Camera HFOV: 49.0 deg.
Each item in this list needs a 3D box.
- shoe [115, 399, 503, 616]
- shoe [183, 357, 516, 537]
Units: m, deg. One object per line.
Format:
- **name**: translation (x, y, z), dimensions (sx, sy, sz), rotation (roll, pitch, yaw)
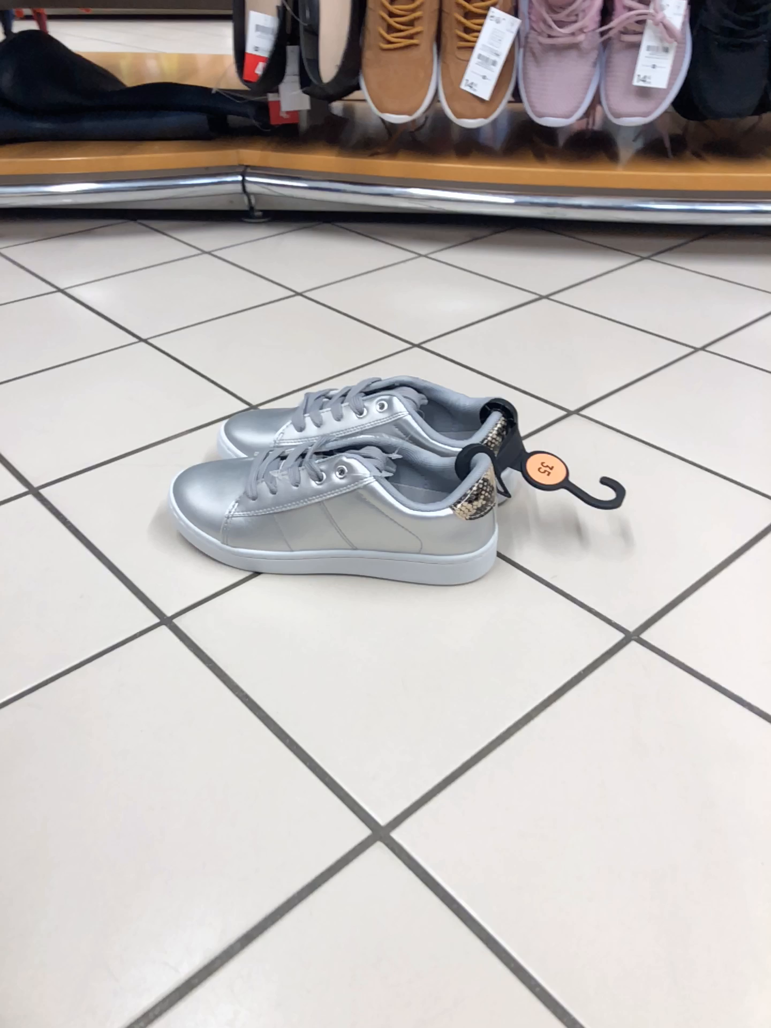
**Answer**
- **shoe**: translation (-0.043, -0.008, 0.559), dimensions (0.230, 0.089, 0.091), rotation (5, 35, 7)
- **shoe**: translation (-0.021, -0.053, 0.638), dimensions (0.230, 0.089, 0.091), rotation (4, 35, 6)
